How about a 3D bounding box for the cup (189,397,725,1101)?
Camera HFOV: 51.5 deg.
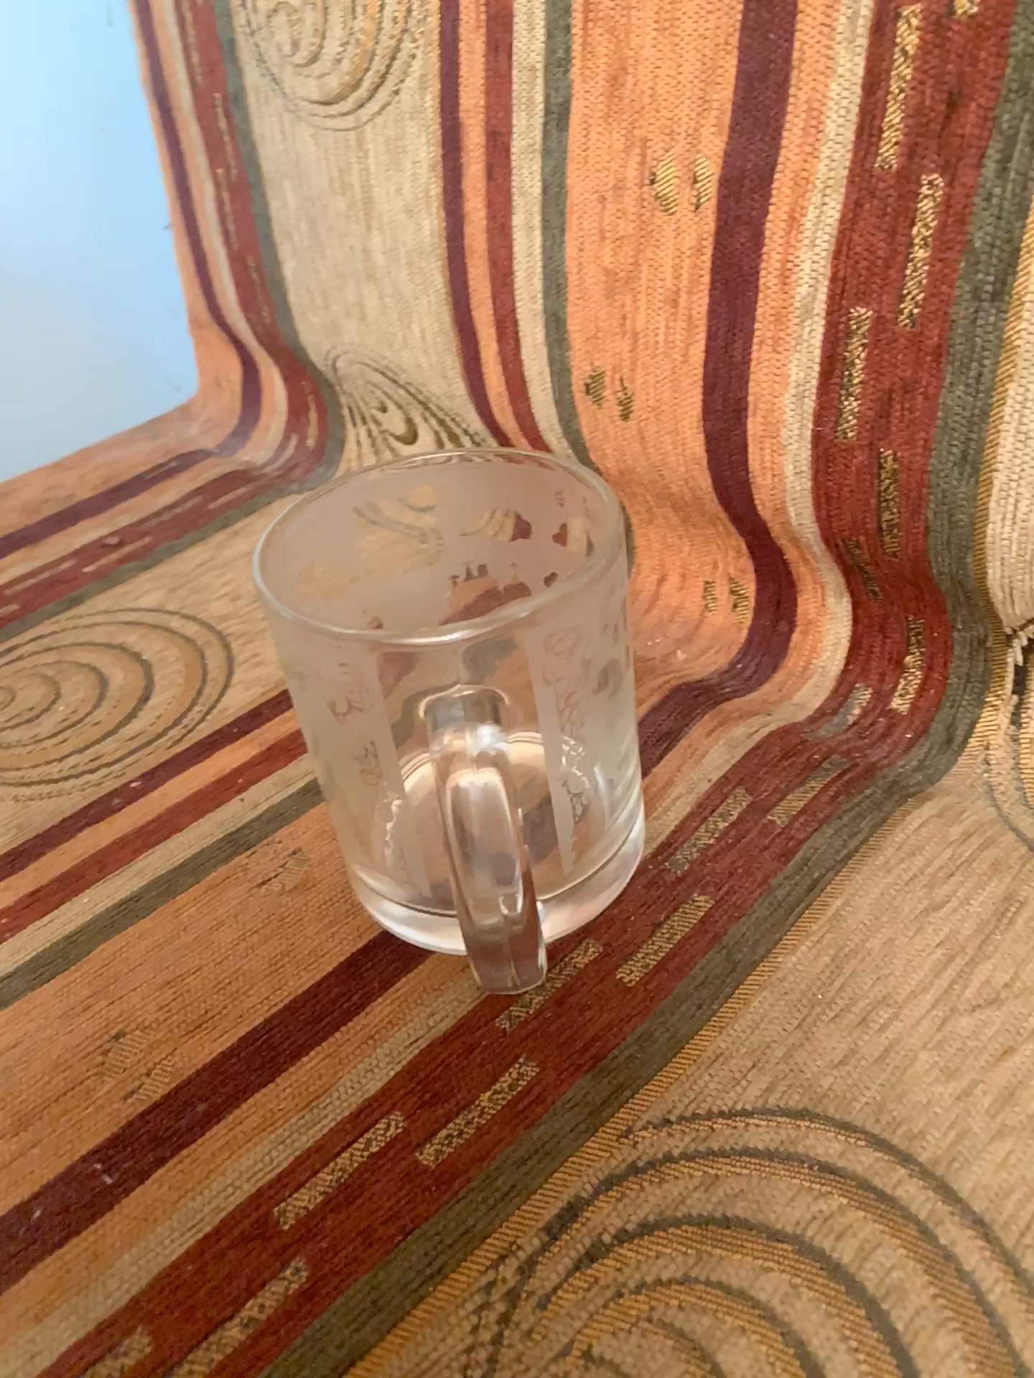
[{"bbox_3d":[-0.016,0.005,0.236,0.084,0.086,0.116,-12,37,-6],"label":"cup"}]
